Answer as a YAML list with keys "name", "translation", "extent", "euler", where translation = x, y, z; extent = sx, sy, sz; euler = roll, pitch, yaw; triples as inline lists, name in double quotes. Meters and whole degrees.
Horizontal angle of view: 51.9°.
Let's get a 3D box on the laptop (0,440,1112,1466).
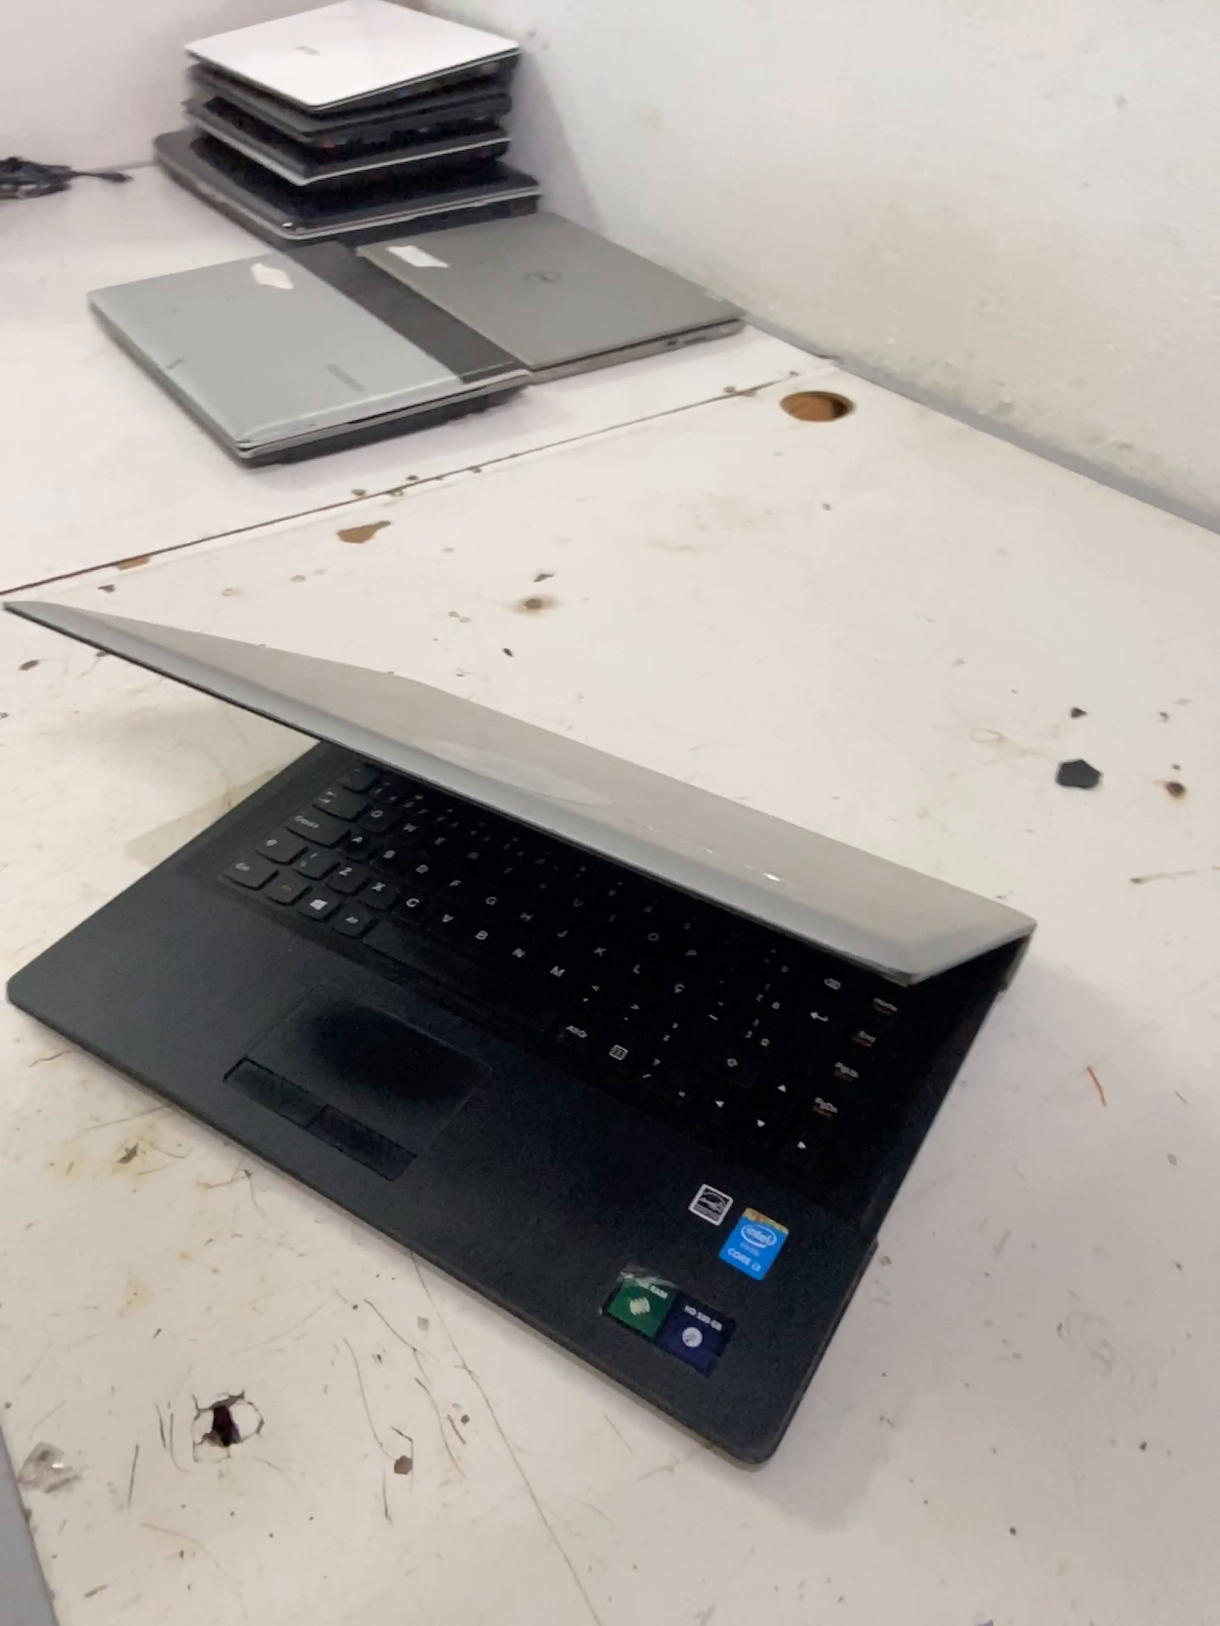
- name: "laptop"
  translation: [-0.037, 0.011, 0.474]
  extent: [0.344, 0.148, 0.246]
  euler: [22, 46, 25]
